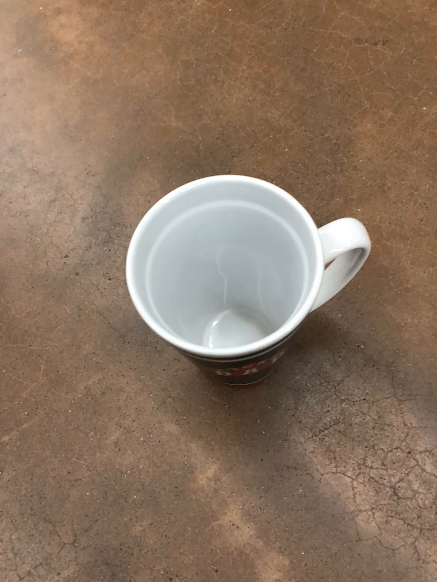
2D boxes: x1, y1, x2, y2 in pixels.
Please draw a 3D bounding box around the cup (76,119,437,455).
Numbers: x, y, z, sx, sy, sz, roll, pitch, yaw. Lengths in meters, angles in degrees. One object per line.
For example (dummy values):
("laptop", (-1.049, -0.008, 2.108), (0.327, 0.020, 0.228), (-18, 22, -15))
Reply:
("cup", (0.021, 0.010, 0.271), (0.130, 0.130, 0.090), (-34, 69, -8))
